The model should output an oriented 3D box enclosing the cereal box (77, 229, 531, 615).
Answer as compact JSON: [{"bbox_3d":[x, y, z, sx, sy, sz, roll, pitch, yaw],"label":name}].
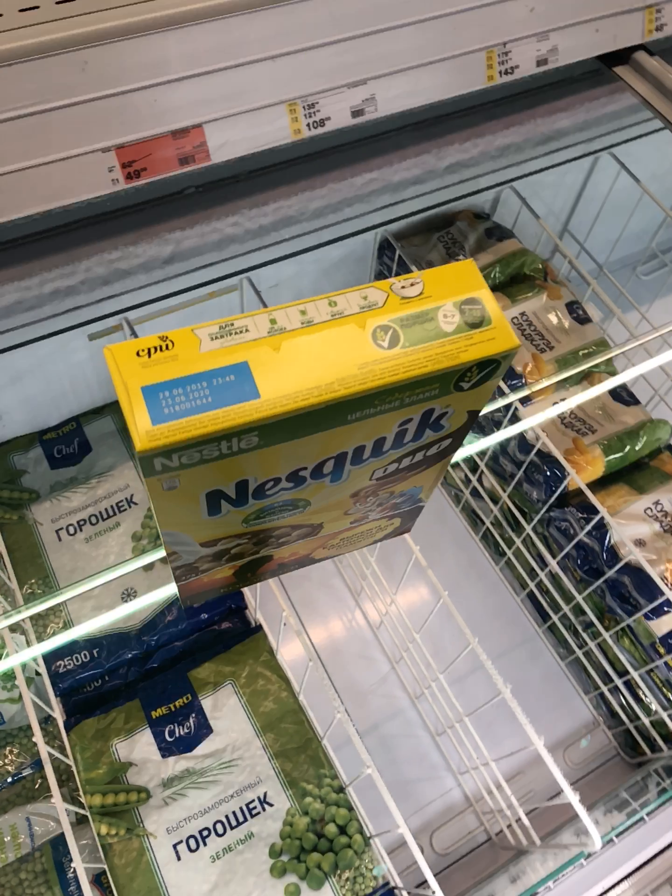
[{"bbox_3d":[-0.025,0.006,0.469,0.200,0.279,0.070,-16,66,-14],"label":"cereal box"}]
